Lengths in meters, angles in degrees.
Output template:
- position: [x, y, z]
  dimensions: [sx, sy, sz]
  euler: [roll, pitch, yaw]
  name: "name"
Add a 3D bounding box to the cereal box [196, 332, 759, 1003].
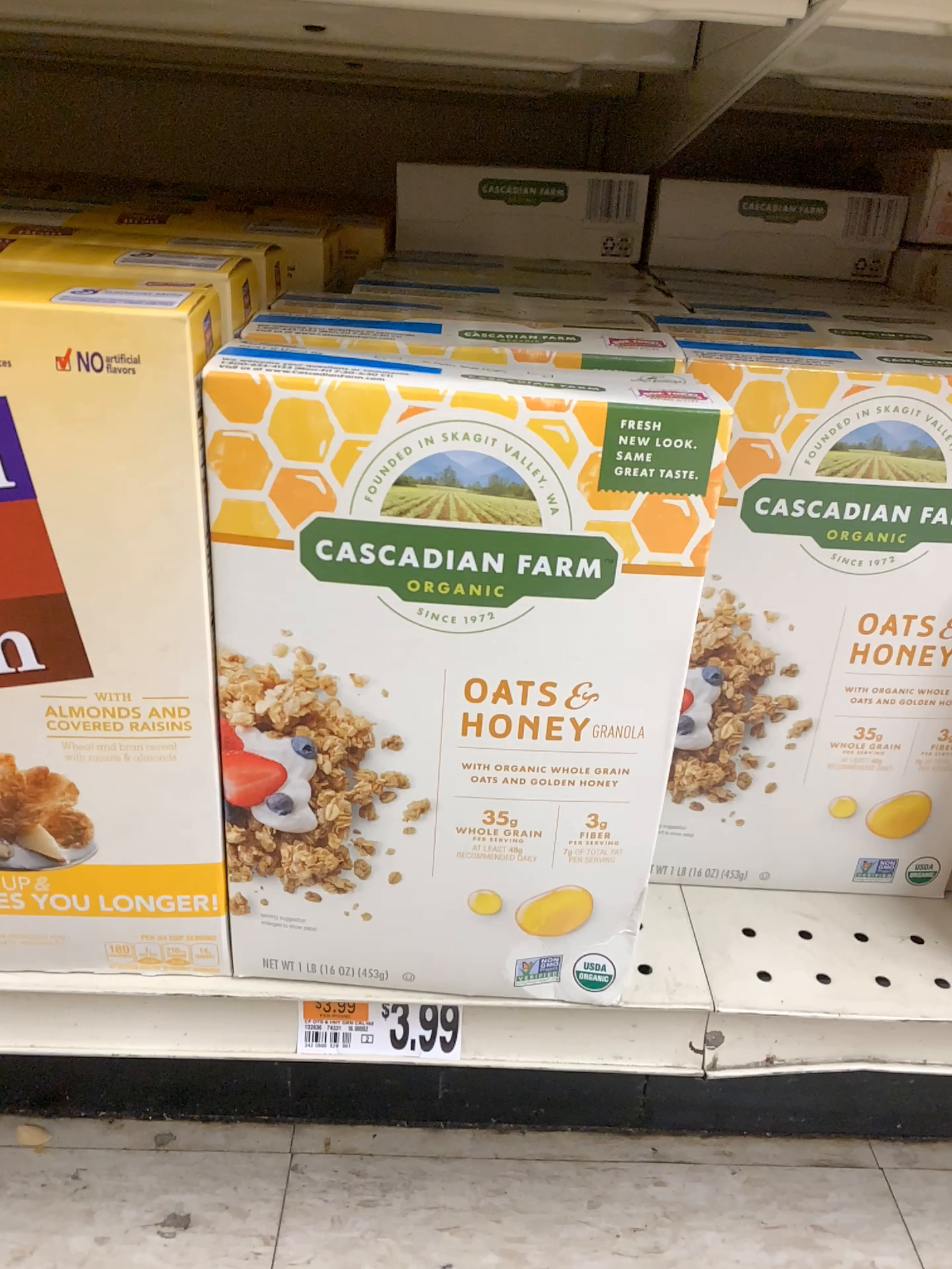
- position: [-0.006, 0.020, 0.354]
  dimensions: [0.160, 0.229, 0.060]
  euler: [4, 26, 0]
  name: "cereal box"
